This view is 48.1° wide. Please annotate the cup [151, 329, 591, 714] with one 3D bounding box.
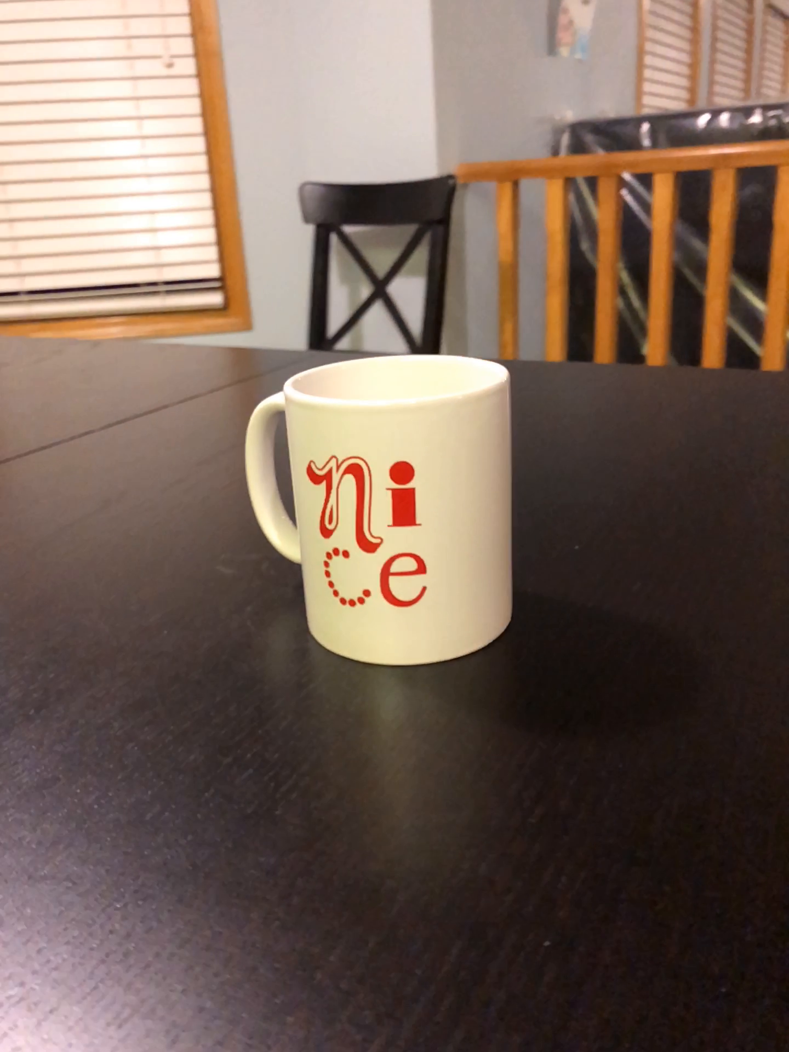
[{"bbox_3d":[-0.004,-0.013,0.330,0.120,0.100,0.100,10,24,32],"label":"cup"}]
